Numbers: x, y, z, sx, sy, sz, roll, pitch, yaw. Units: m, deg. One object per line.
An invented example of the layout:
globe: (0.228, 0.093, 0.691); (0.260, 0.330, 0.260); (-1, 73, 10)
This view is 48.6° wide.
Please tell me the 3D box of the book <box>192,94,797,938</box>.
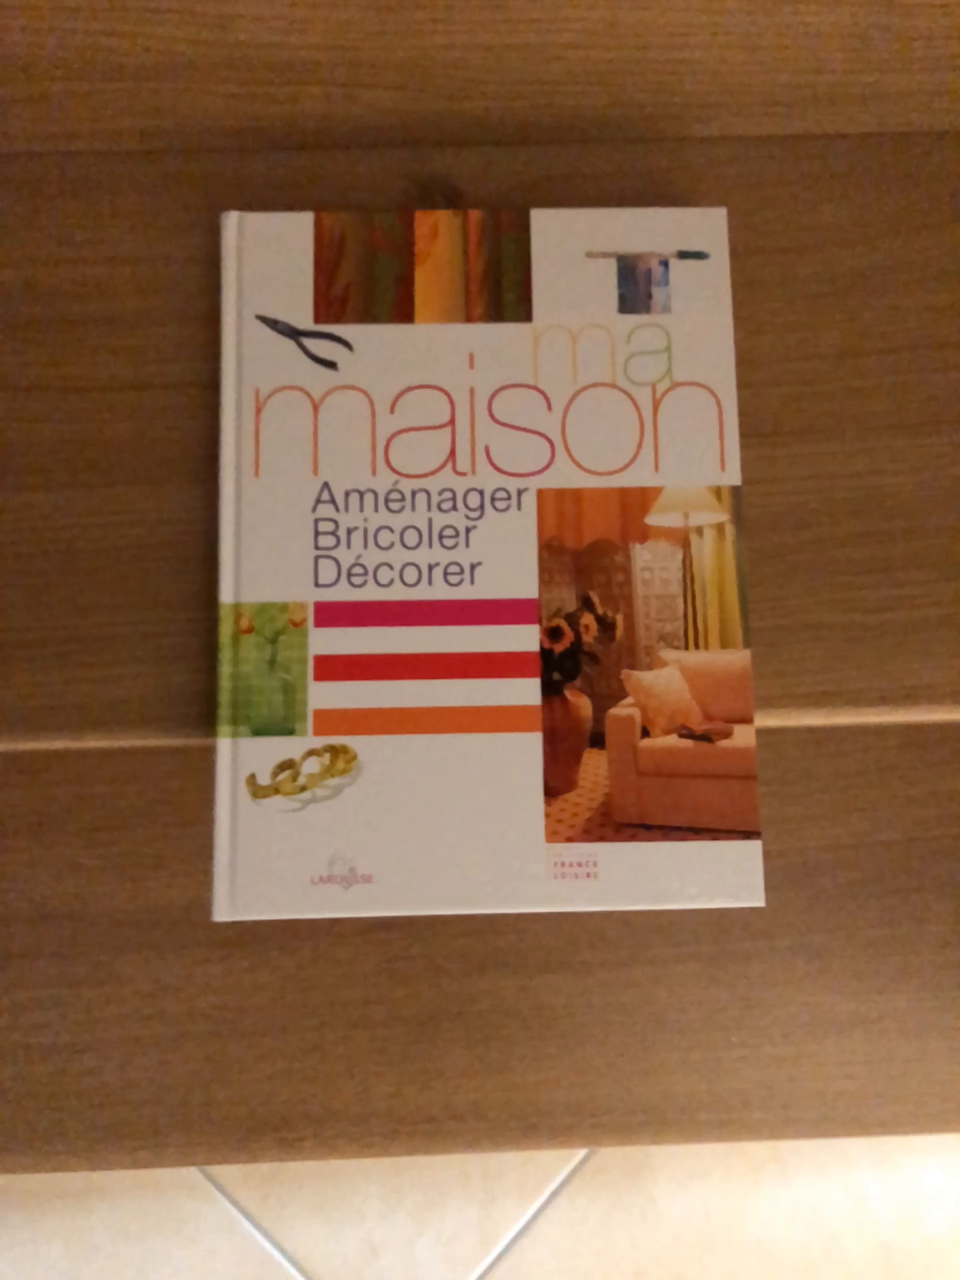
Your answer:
book: (0.001, -0.052, 0.404); (0.210, 0.030, 0.310); (-2, 83, -1)
